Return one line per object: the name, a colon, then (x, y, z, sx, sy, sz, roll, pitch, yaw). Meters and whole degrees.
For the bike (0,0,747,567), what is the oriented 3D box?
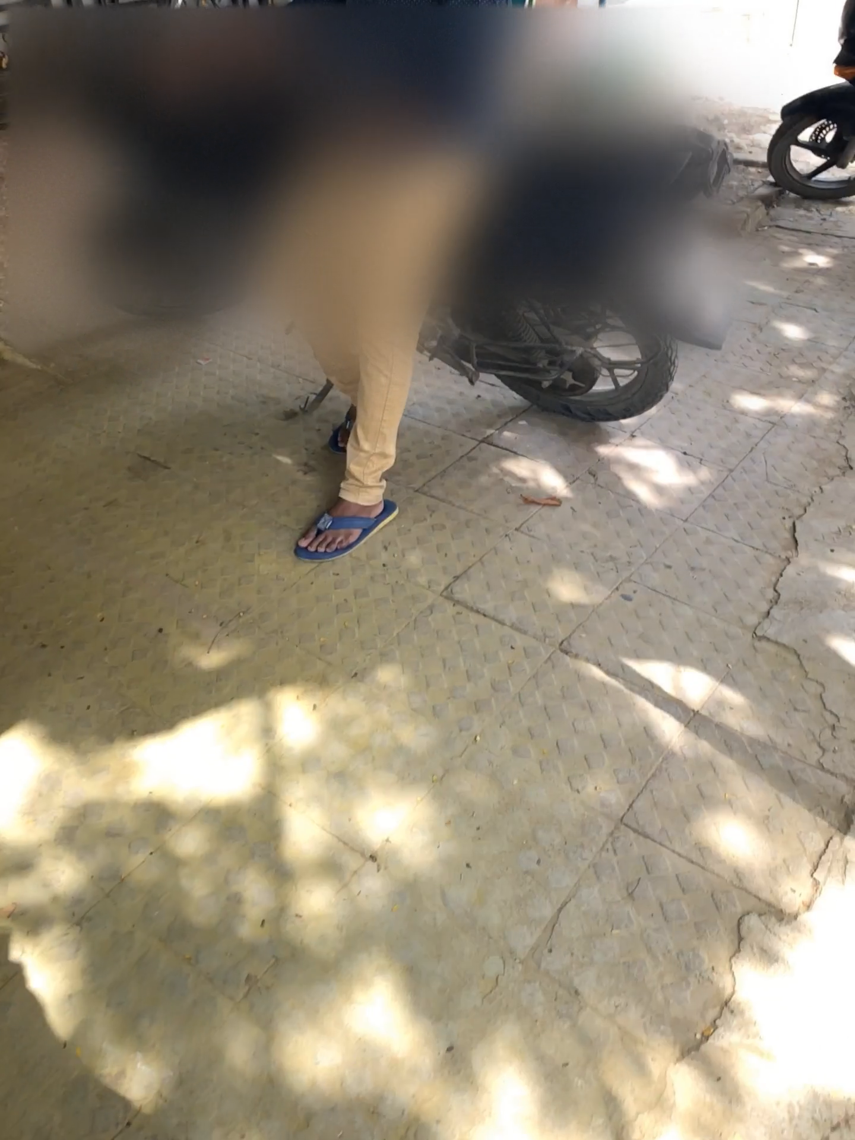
bike: (-0.270, -0.891, 2.292, 1.743, 1.174, 0.788, 13, 40, 20)
